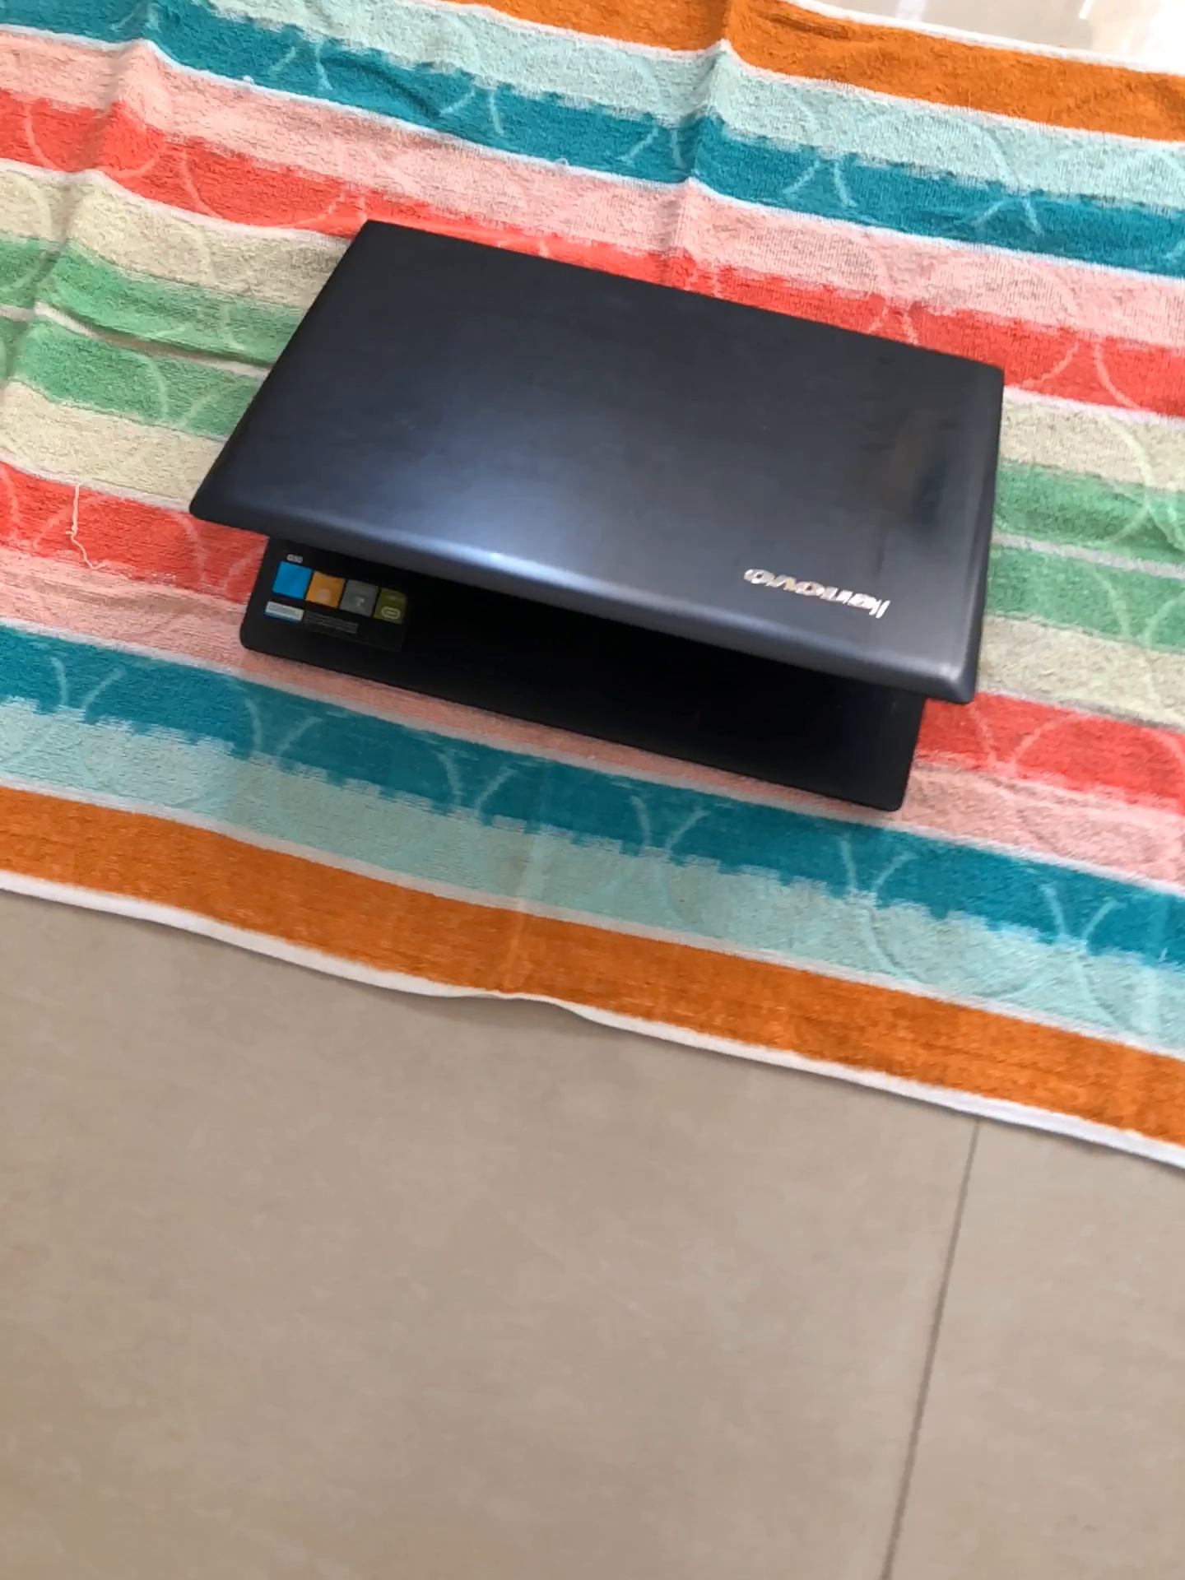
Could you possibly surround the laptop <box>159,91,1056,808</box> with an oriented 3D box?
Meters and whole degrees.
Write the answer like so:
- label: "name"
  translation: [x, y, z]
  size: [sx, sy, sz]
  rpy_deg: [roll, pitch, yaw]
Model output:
- label: "laptop"
  translation: [0.015, -0.167, 0.661]
  size: [0.363, 0.126, 0.253]
  rpy_deg: [15, 77, 3]
